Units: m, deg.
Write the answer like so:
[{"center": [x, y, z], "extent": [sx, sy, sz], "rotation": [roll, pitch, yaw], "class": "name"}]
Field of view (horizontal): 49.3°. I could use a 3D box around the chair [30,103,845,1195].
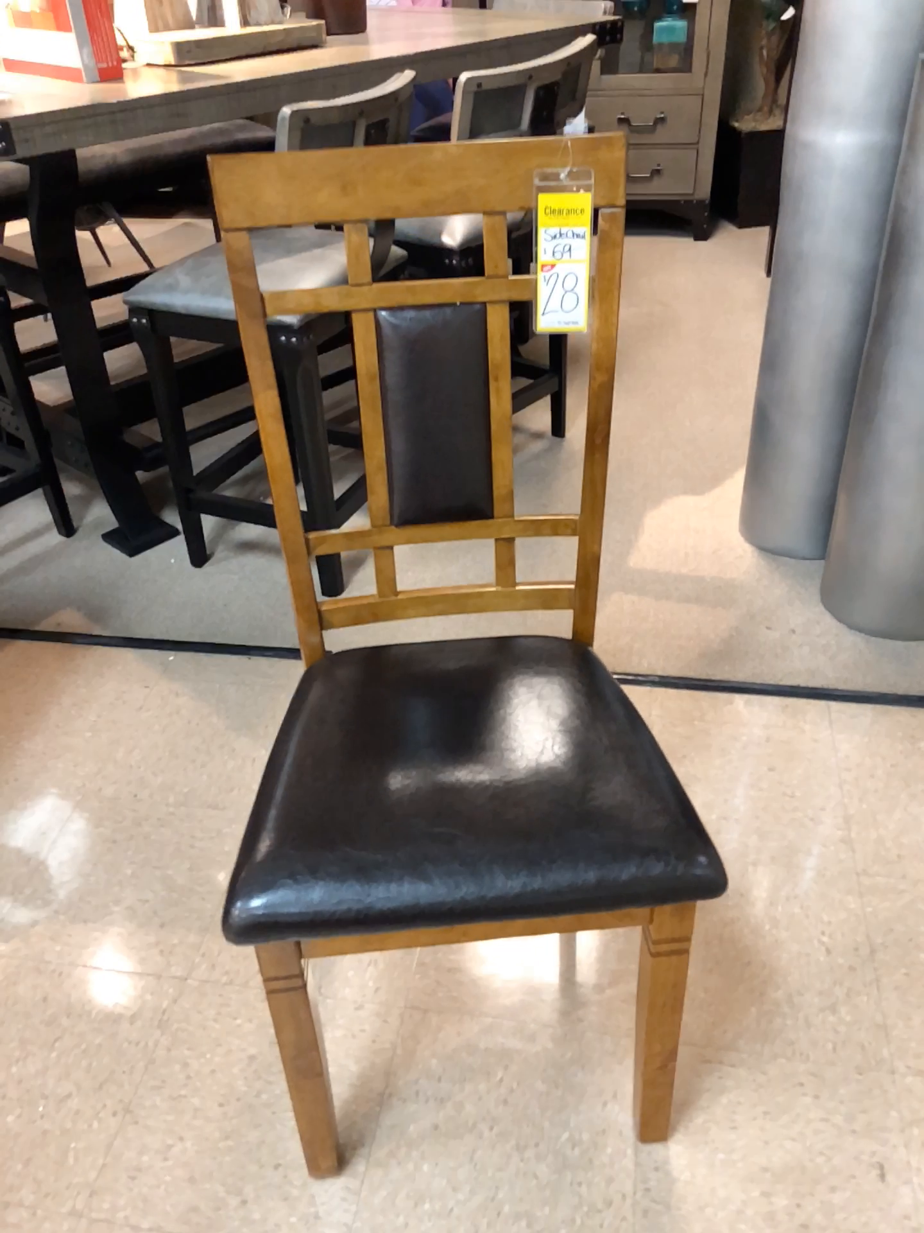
[{"center": [-0.012, 0.072, 1.045], "extent": [0.450, 0.993, 0.503], "rotation": [-4, 35, -3], "class": "chair"}]
